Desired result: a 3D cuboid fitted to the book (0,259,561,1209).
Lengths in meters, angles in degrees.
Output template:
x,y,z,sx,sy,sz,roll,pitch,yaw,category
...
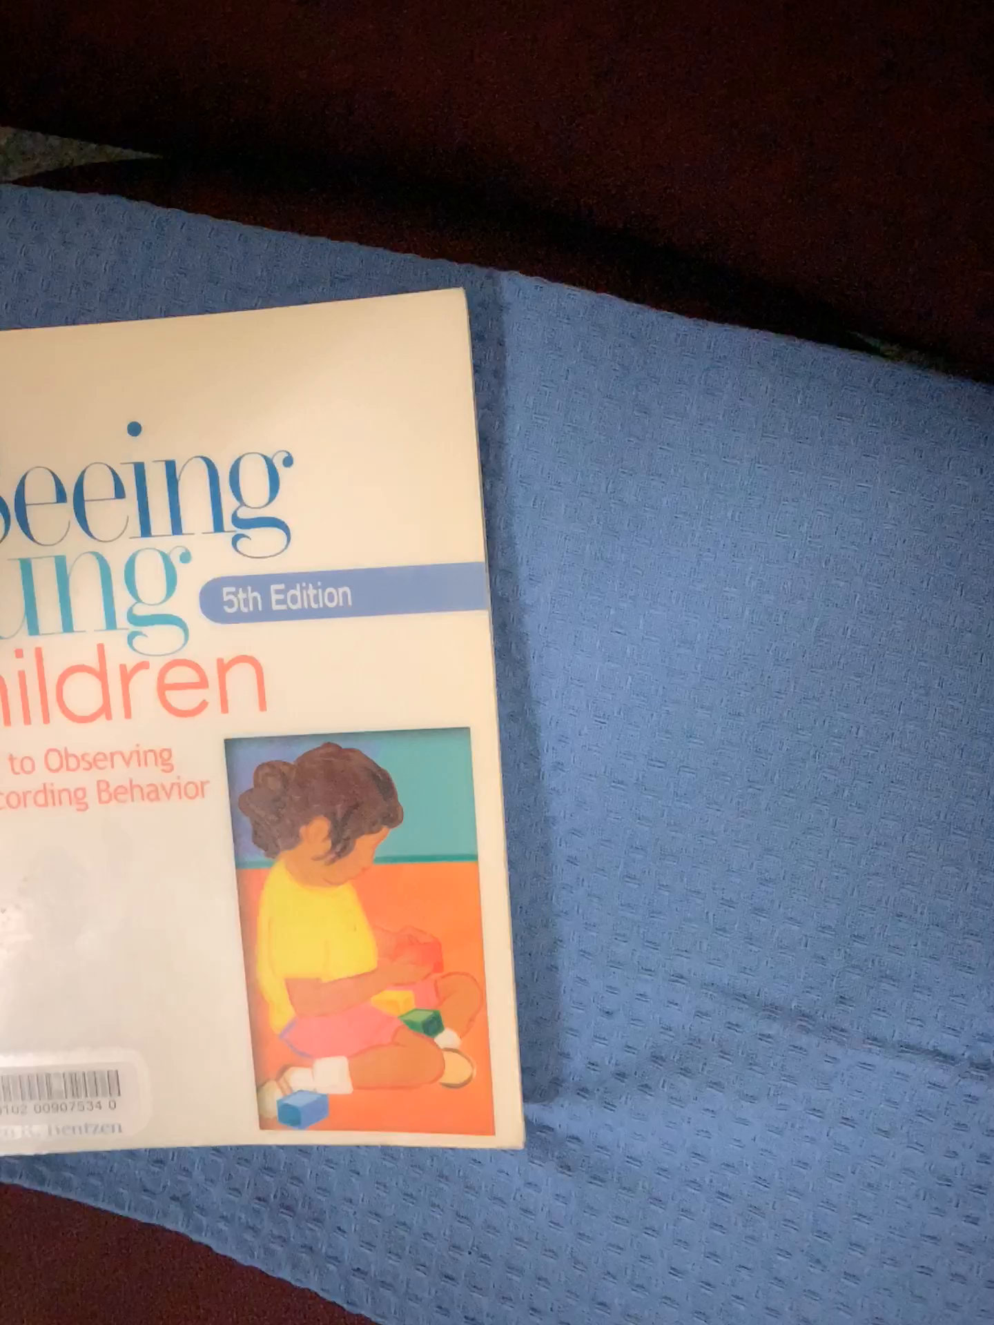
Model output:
x,y,z,sx,sy,sz,roll,pitch,yaw,category
-0.090,0.029,0.291,0.200,0.030,0.250,-4,99,3,book
